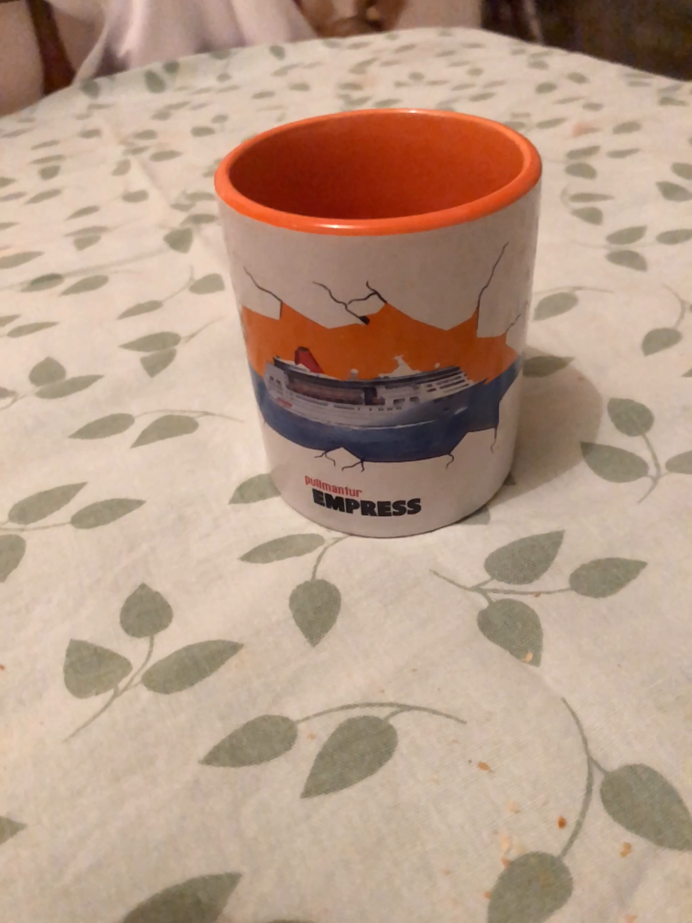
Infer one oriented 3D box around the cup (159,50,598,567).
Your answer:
[{"bbox_3d":[0.021,-0.054,0.232,0.080,0.099,0.121,10,42,18],"label":"cup"}]
